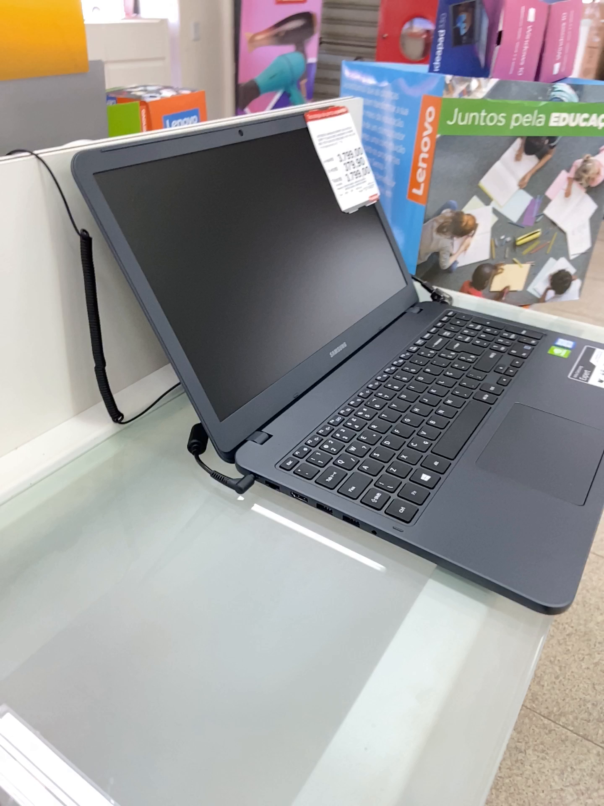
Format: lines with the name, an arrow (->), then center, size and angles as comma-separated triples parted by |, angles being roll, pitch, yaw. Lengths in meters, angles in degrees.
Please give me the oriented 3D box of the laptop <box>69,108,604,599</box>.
laptop -> 0.094, -0.108, 0.522 | 0.369, 0.192, 0.373 | 20, 36, 27
